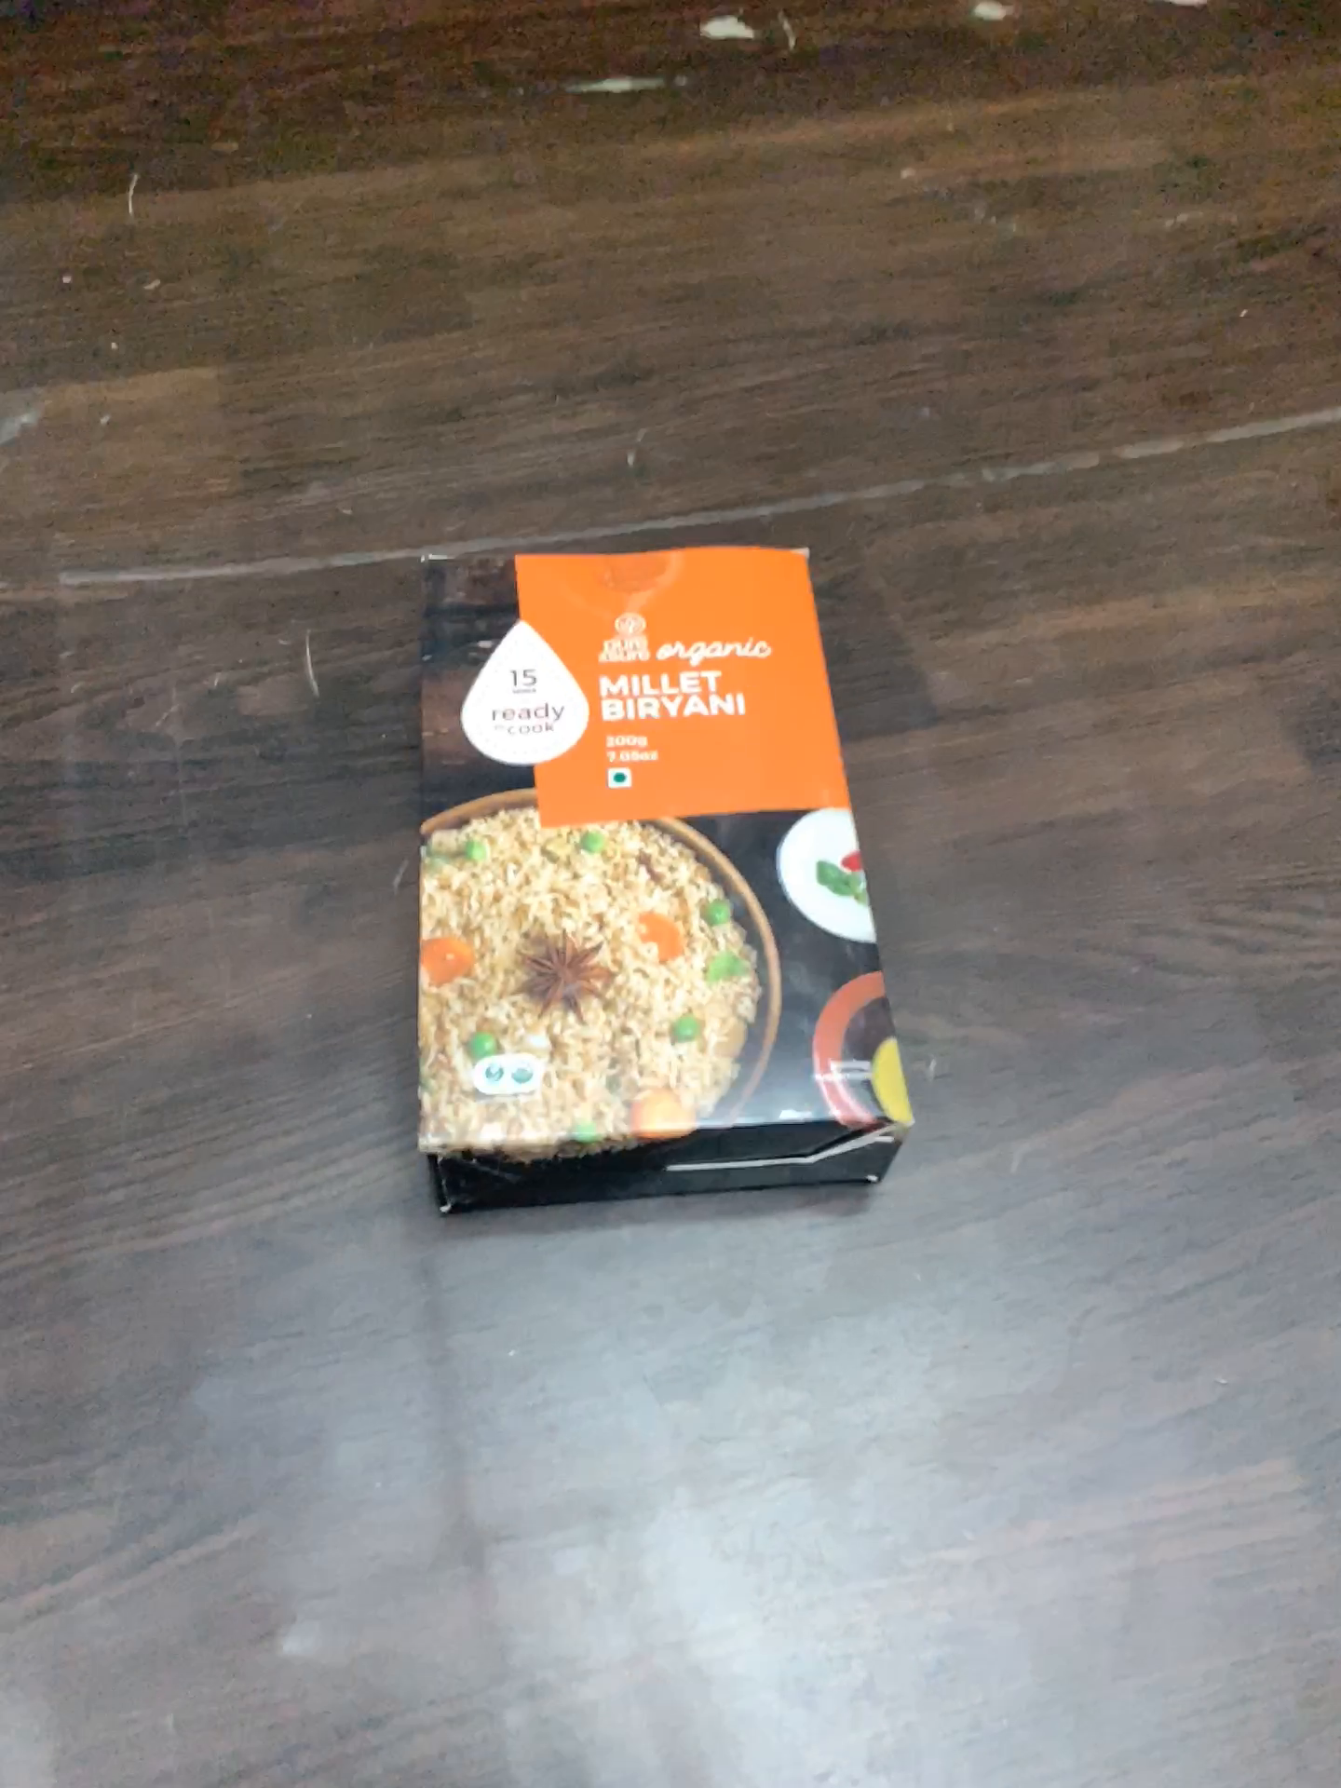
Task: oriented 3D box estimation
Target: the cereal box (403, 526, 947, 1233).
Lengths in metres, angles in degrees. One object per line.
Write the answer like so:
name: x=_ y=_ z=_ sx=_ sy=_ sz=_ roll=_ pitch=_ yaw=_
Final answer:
cereal box: x=-0.007 y=-0.010 z=0.339 sx=0.110 sy=0.050 sz=0.170 roll=-1 pitch=60 yaw=-7
